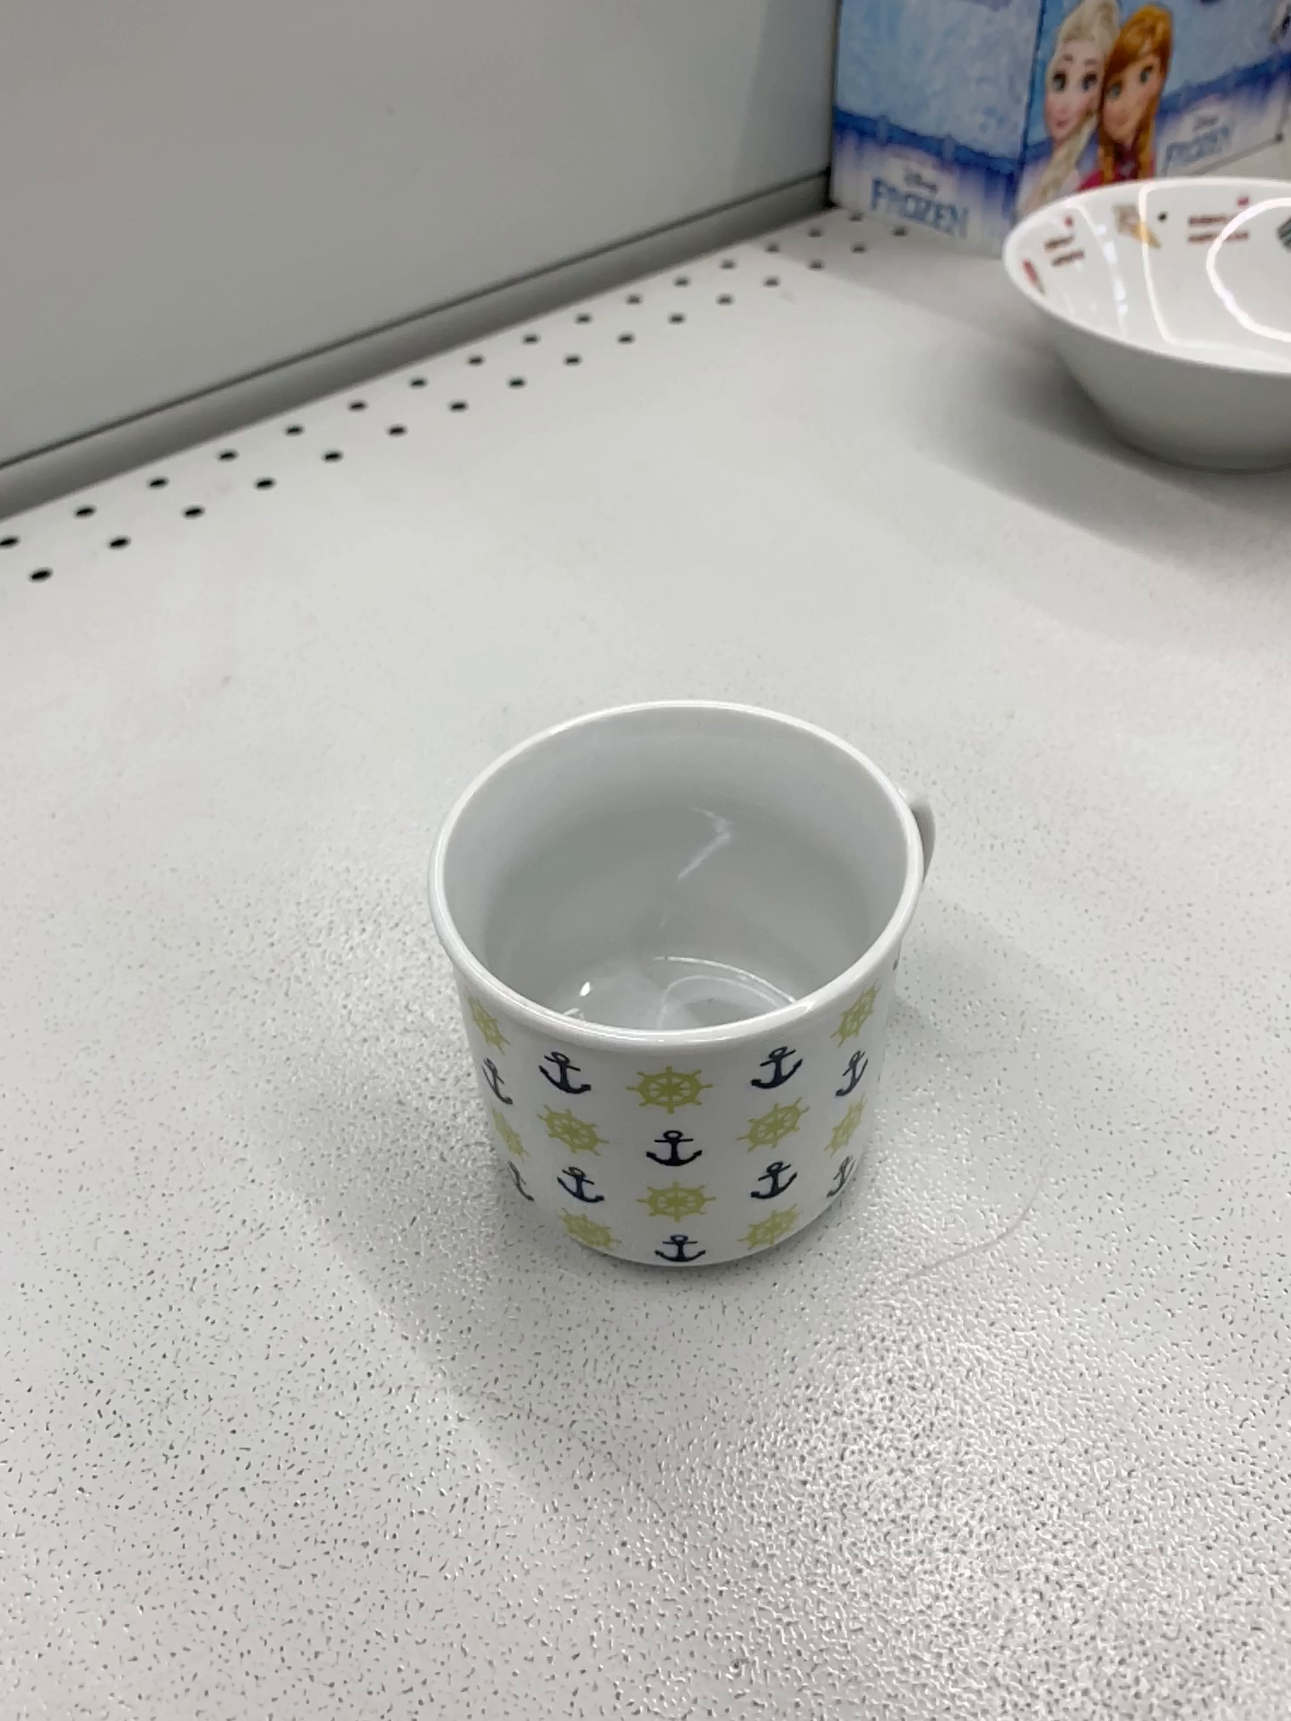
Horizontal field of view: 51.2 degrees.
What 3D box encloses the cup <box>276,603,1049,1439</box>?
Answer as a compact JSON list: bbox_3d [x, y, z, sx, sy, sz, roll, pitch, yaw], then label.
[{"bbox_3d":[0.008,0.022,0.233,0.078,0.076,0.096,24,51,27],"label":"cup"}]
